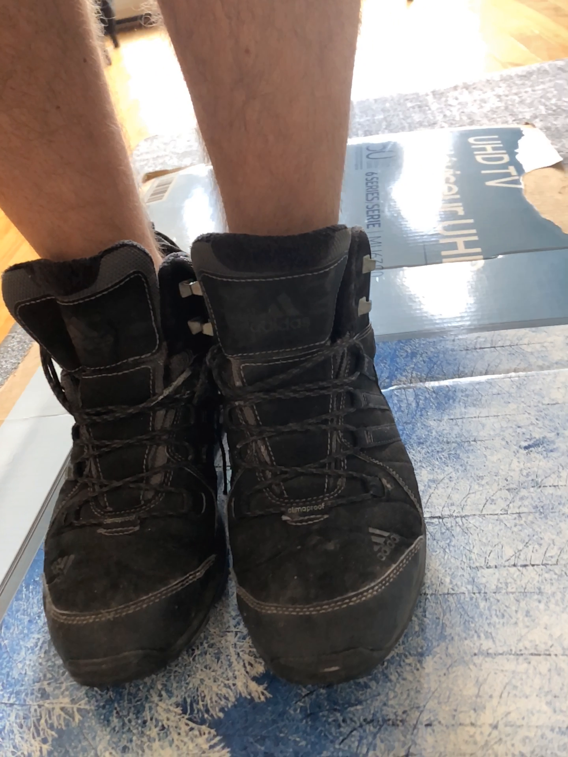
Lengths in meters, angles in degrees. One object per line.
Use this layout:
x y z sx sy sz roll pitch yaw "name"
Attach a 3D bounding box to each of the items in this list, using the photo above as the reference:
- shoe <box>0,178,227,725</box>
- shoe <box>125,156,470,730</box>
-0.111 0.019 0.383 0.110 0.169 0.282 -11 37 4 "shoe"
0.010 0.010 0.363 0.110 0.169 0.282 -11 37 4 "shoe"
